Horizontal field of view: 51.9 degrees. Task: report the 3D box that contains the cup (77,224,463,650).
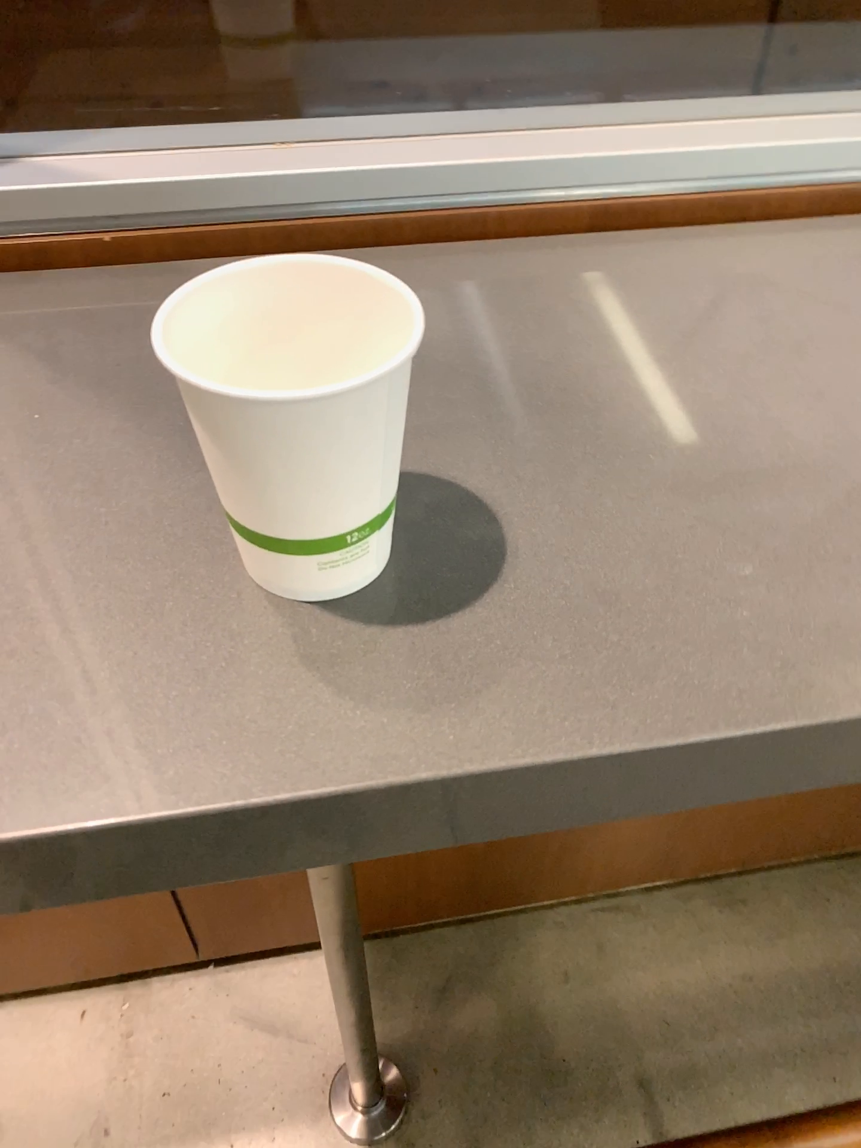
[{"bbox_3d":[-0.044,-0.048,0.306,0.090,0.099,0.090,0,44,0],"label":"cup"}]
